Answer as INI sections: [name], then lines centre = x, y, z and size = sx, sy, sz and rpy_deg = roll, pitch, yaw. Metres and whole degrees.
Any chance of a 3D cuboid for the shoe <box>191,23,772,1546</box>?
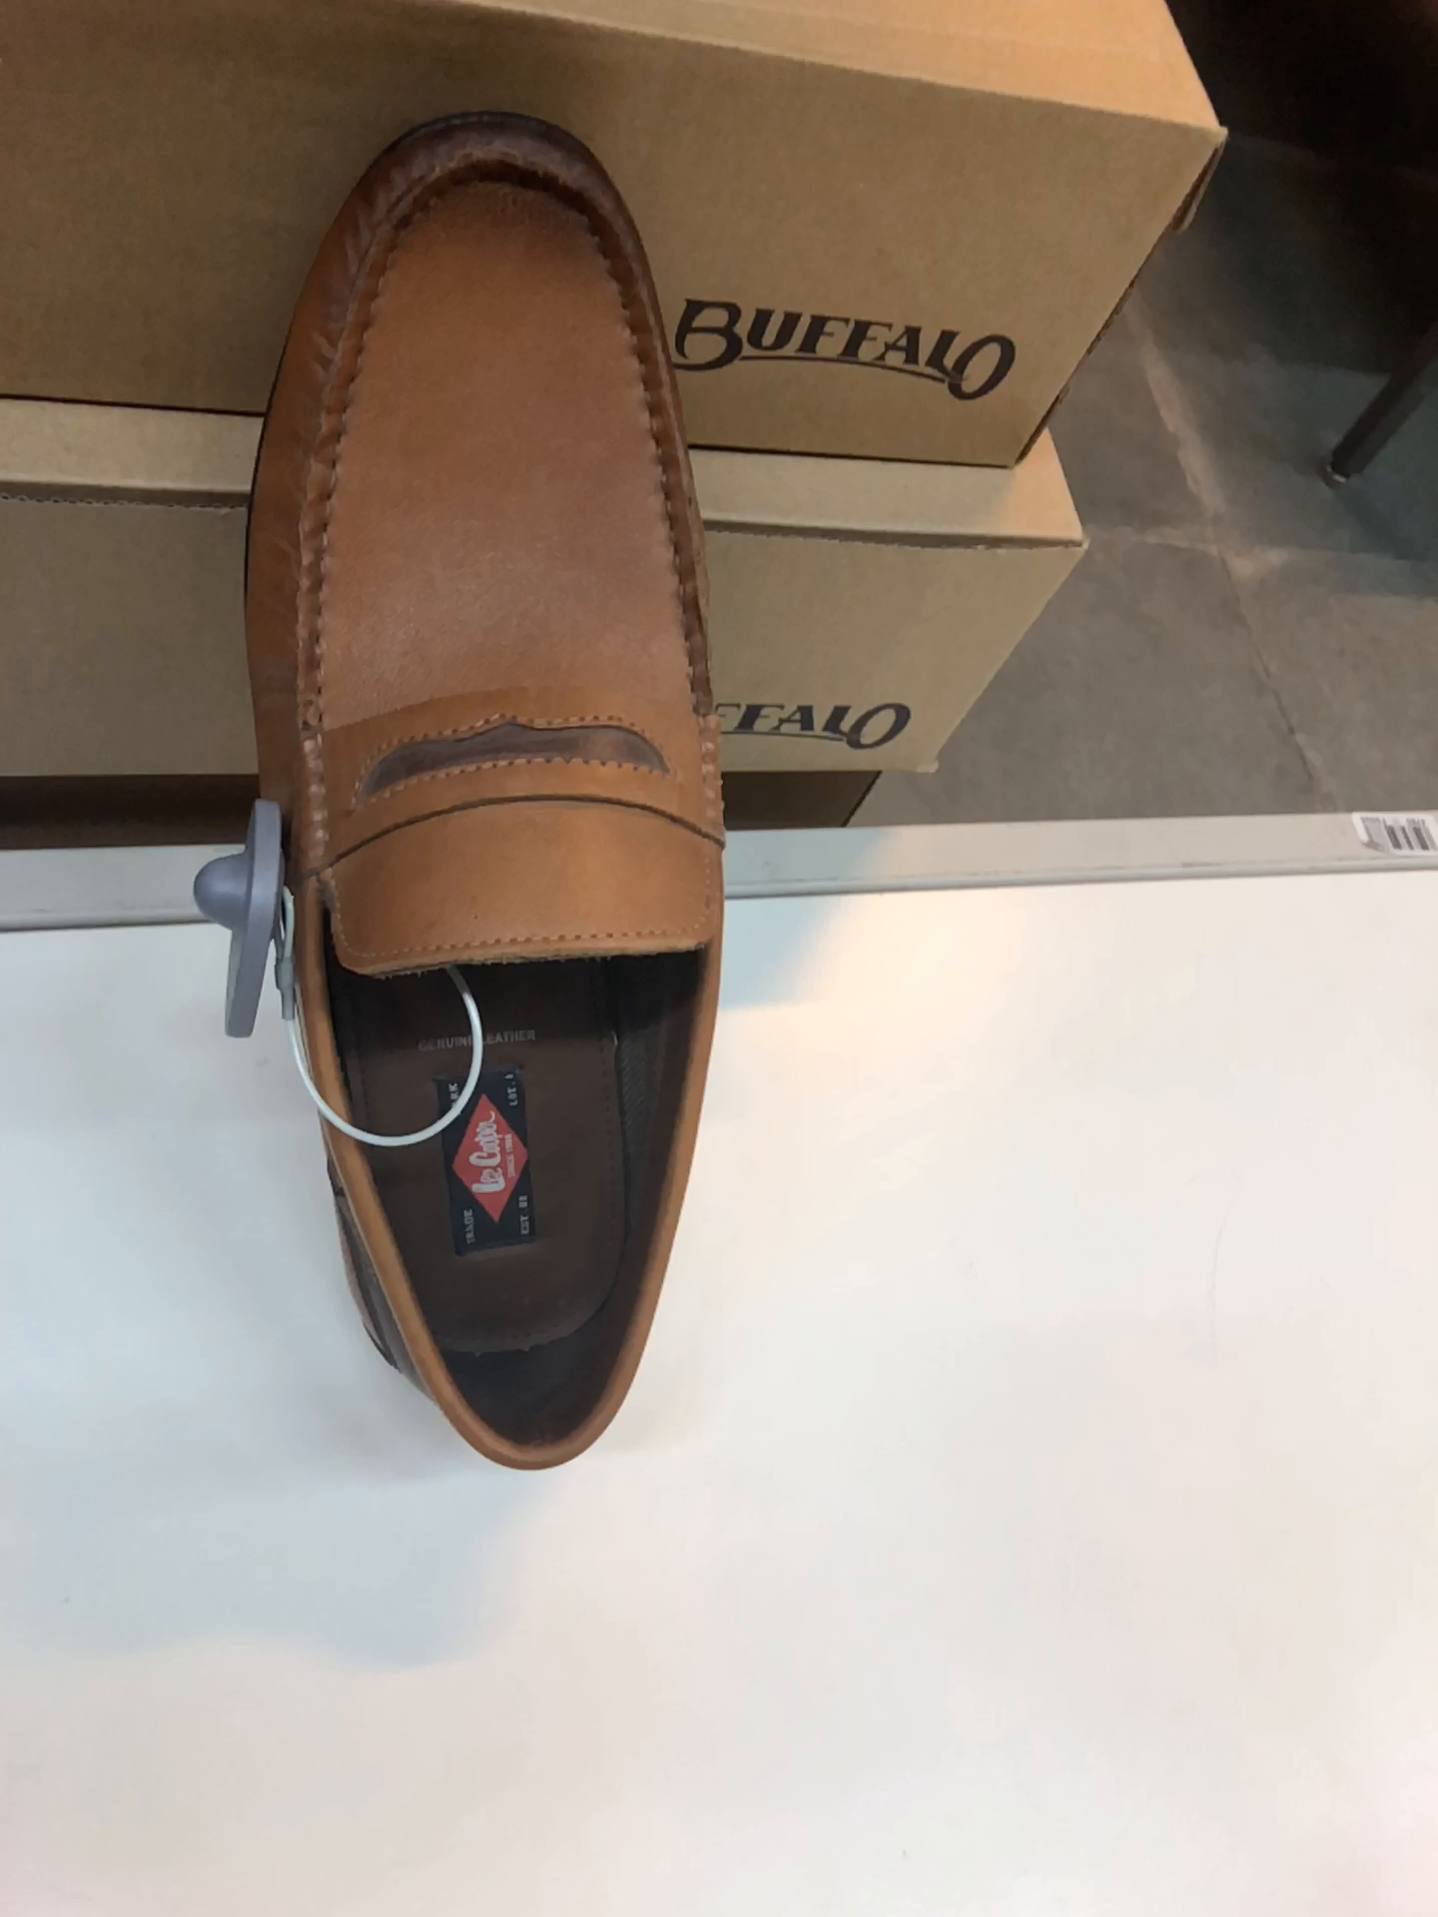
[shoe]
centre = -0.057, -0.032, 0.367
size = 0.103, 0.103, 0.293
rpy_deg = -4, 106, -17
